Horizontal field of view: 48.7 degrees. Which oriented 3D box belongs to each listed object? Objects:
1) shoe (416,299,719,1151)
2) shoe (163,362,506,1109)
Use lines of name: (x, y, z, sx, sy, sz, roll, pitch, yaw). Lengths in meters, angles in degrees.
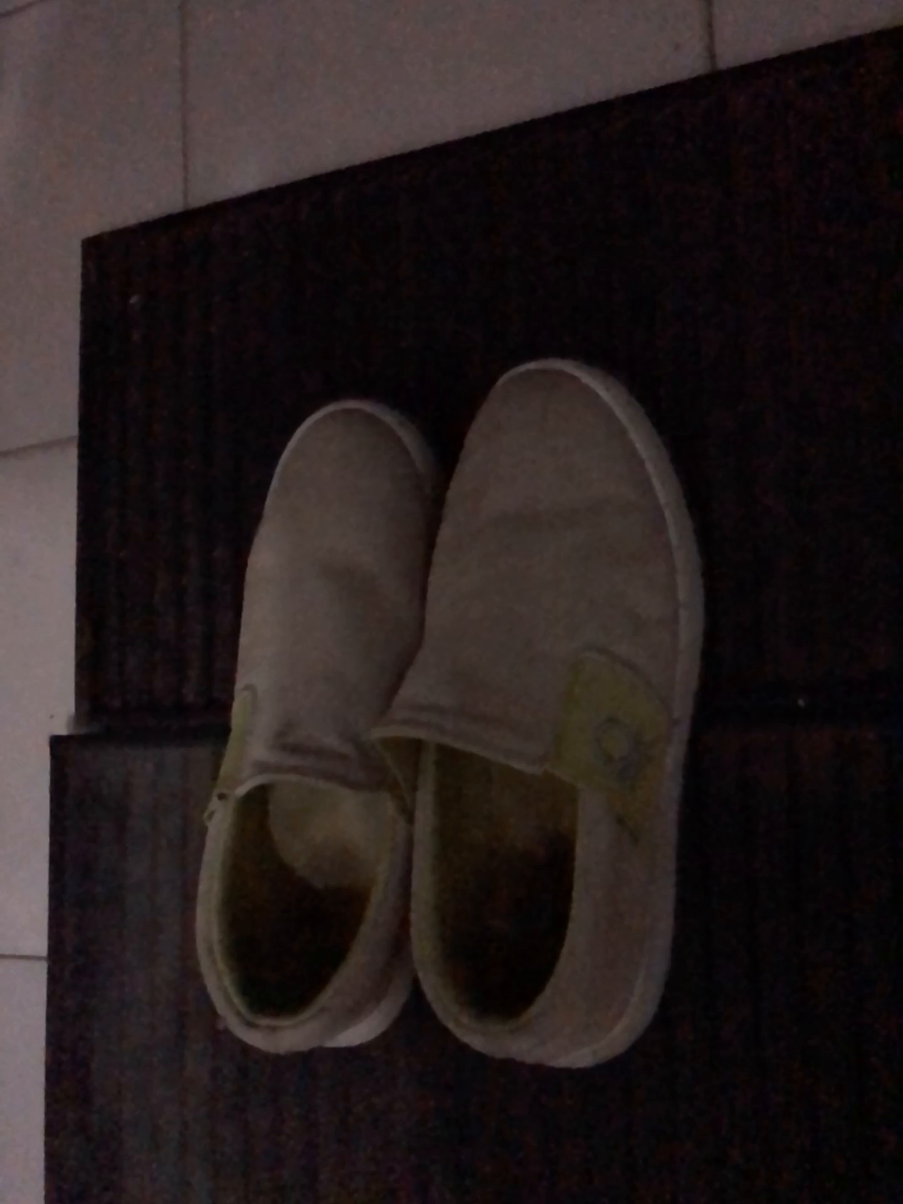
shoe: (0.057, 0.046, 0.452, 0.110, 0.090, 0.330, -2, 82, 22)
shoe: (-0.049, 0.054, 0.468, 0.120, 0.090, 0.300, -2, 82, 22)
